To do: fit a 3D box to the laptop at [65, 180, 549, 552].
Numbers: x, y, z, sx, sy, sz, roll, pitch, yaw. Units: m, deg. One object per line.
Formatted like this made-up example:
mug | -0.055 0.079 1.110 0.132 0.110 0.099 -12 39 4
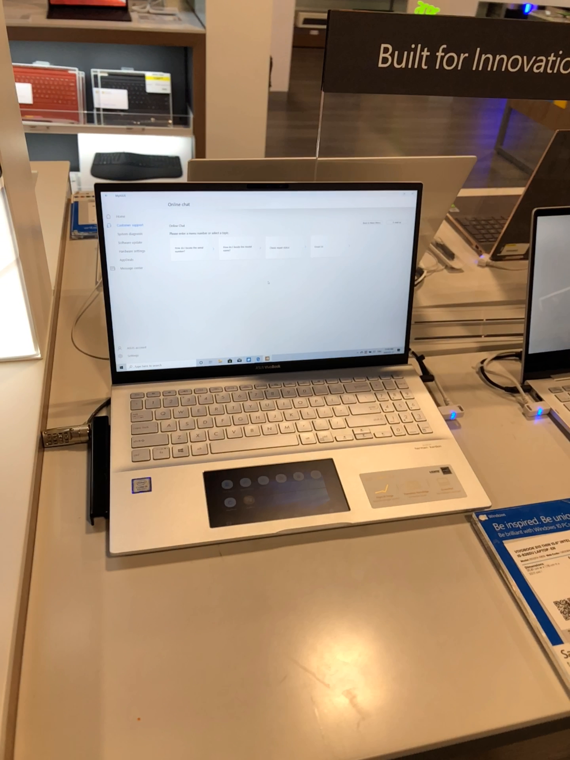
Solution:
laptop | -0.007 -0.038 0.580 0.330 0.189 0.285 -4 38 -12
